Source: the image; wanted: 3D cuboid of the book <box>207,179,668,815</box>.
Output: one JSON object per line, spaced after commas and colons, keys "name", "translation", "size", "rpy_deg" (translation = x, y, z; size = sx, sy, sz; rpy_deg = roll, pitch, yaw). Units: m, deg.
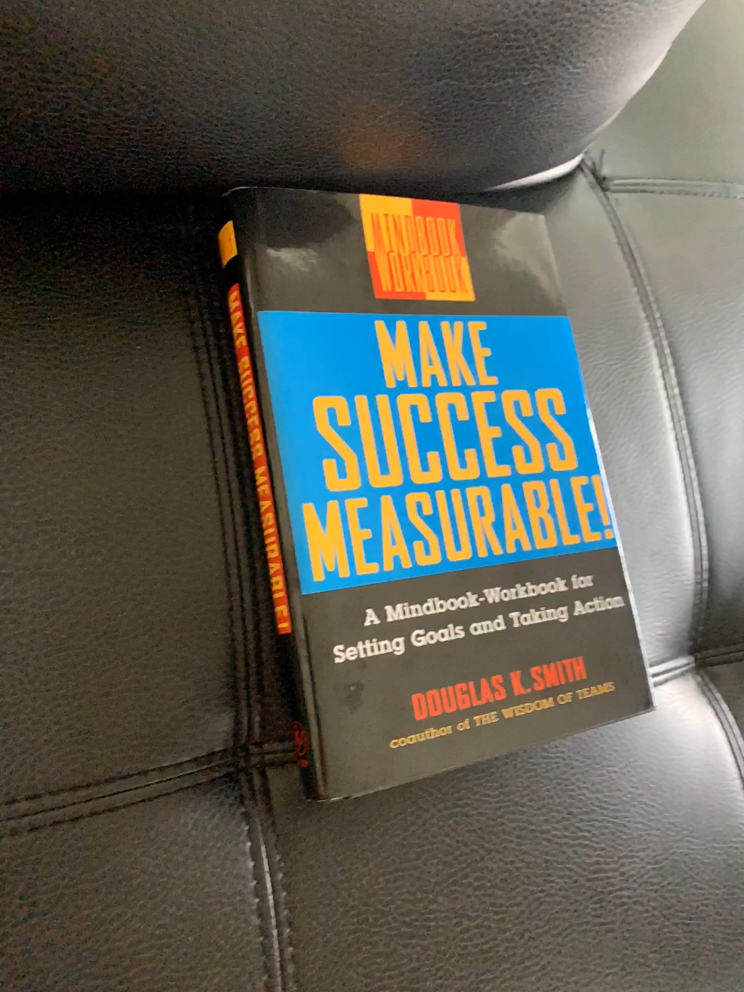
{"name": "book", "translation": [0.029, -0.012, 0.332], "size": [0.164, 0.030, 0.240], "rpy_deg": [-5, 80, -26]}
